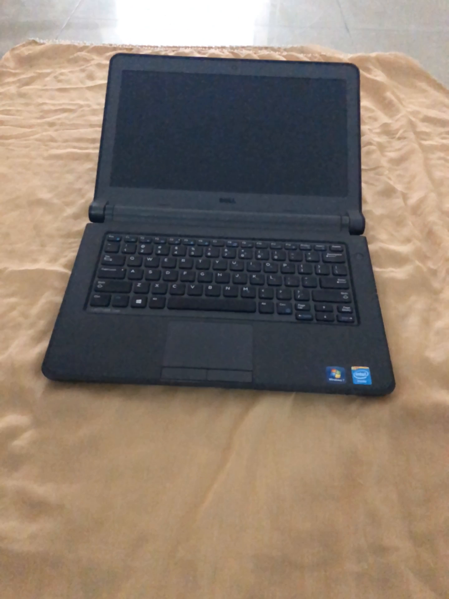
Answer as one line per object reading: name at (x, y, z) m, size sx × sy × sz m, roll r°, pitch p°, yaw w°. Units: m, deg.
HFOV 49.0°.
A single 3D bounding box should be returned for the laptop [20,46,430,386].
laptop at (0.007, -0.122, 0.533) m, size 0.308 × 0.092 × 0.411 m, roll 3°, pitch 51°, yaw 0°
